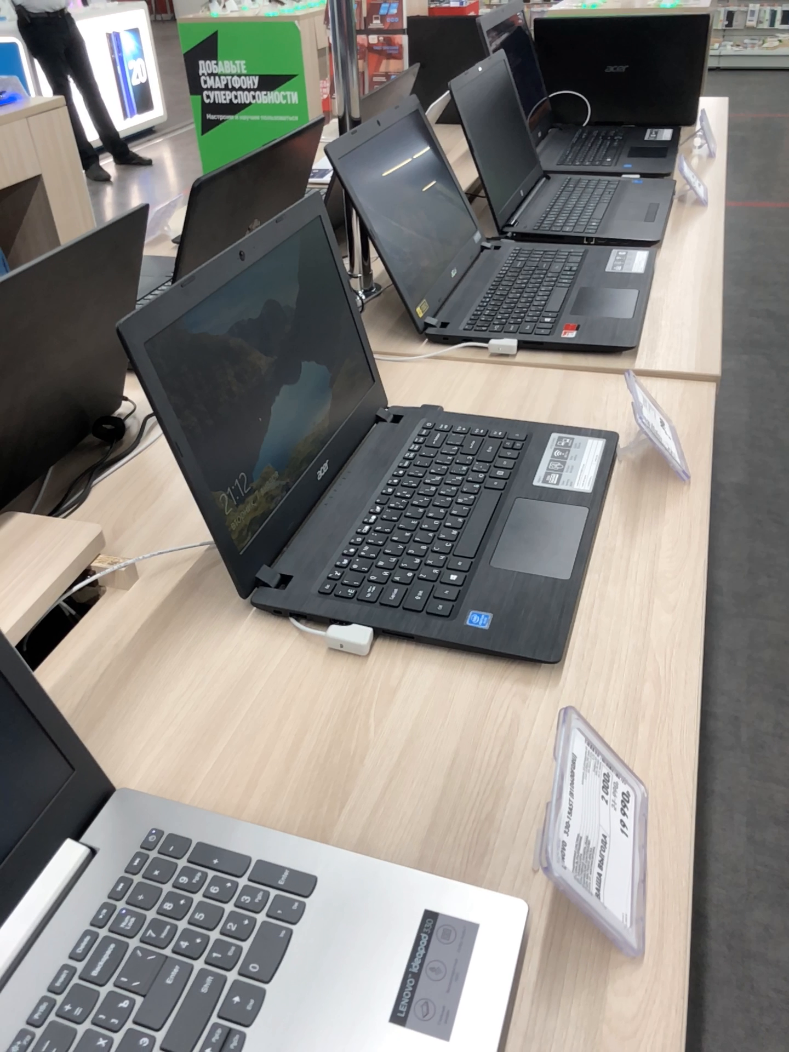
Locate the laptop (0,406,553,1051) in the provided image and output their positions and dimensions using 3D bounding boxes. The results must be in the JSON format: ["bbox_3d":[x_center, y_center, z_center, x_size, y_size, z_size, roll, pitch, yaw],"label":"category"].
[{"bbox_3d":[-0.146,0.172,0.291,0.337,0.236,0.364,10,36,17],"label":"laptop"}]

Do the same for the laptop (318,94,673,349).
[{"bbox_3d":[0.155,-0.431,1.169,0.376,0.216,0.381,8,36,15],"label":"laptop"}]

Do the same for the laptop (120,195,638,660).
[{"bbox_3d":[0.022,-0.113,0.726,0.301,0.223,0.344,9,36,16],"label":"laptop"}]
